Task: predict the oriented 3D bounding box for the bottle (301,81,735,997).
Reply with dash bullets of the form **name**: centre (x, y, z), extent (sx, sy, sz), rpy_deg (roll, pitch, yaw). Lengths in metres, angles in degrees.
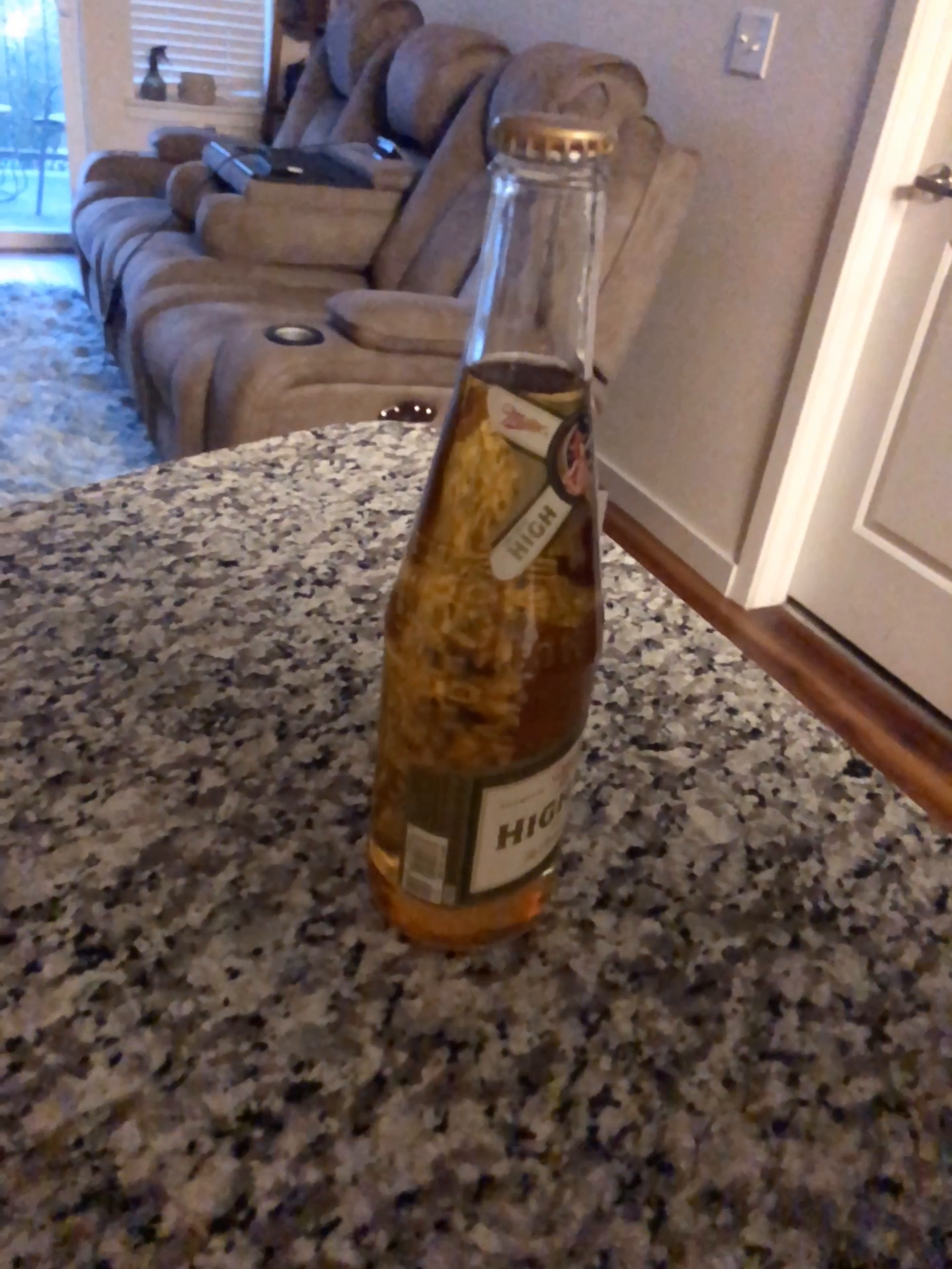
- **bottle**: centre (0.002, -0.015, 0.282), extent (0.070, 0.229, 0.060), rpy_deg (17, 32, 15)
